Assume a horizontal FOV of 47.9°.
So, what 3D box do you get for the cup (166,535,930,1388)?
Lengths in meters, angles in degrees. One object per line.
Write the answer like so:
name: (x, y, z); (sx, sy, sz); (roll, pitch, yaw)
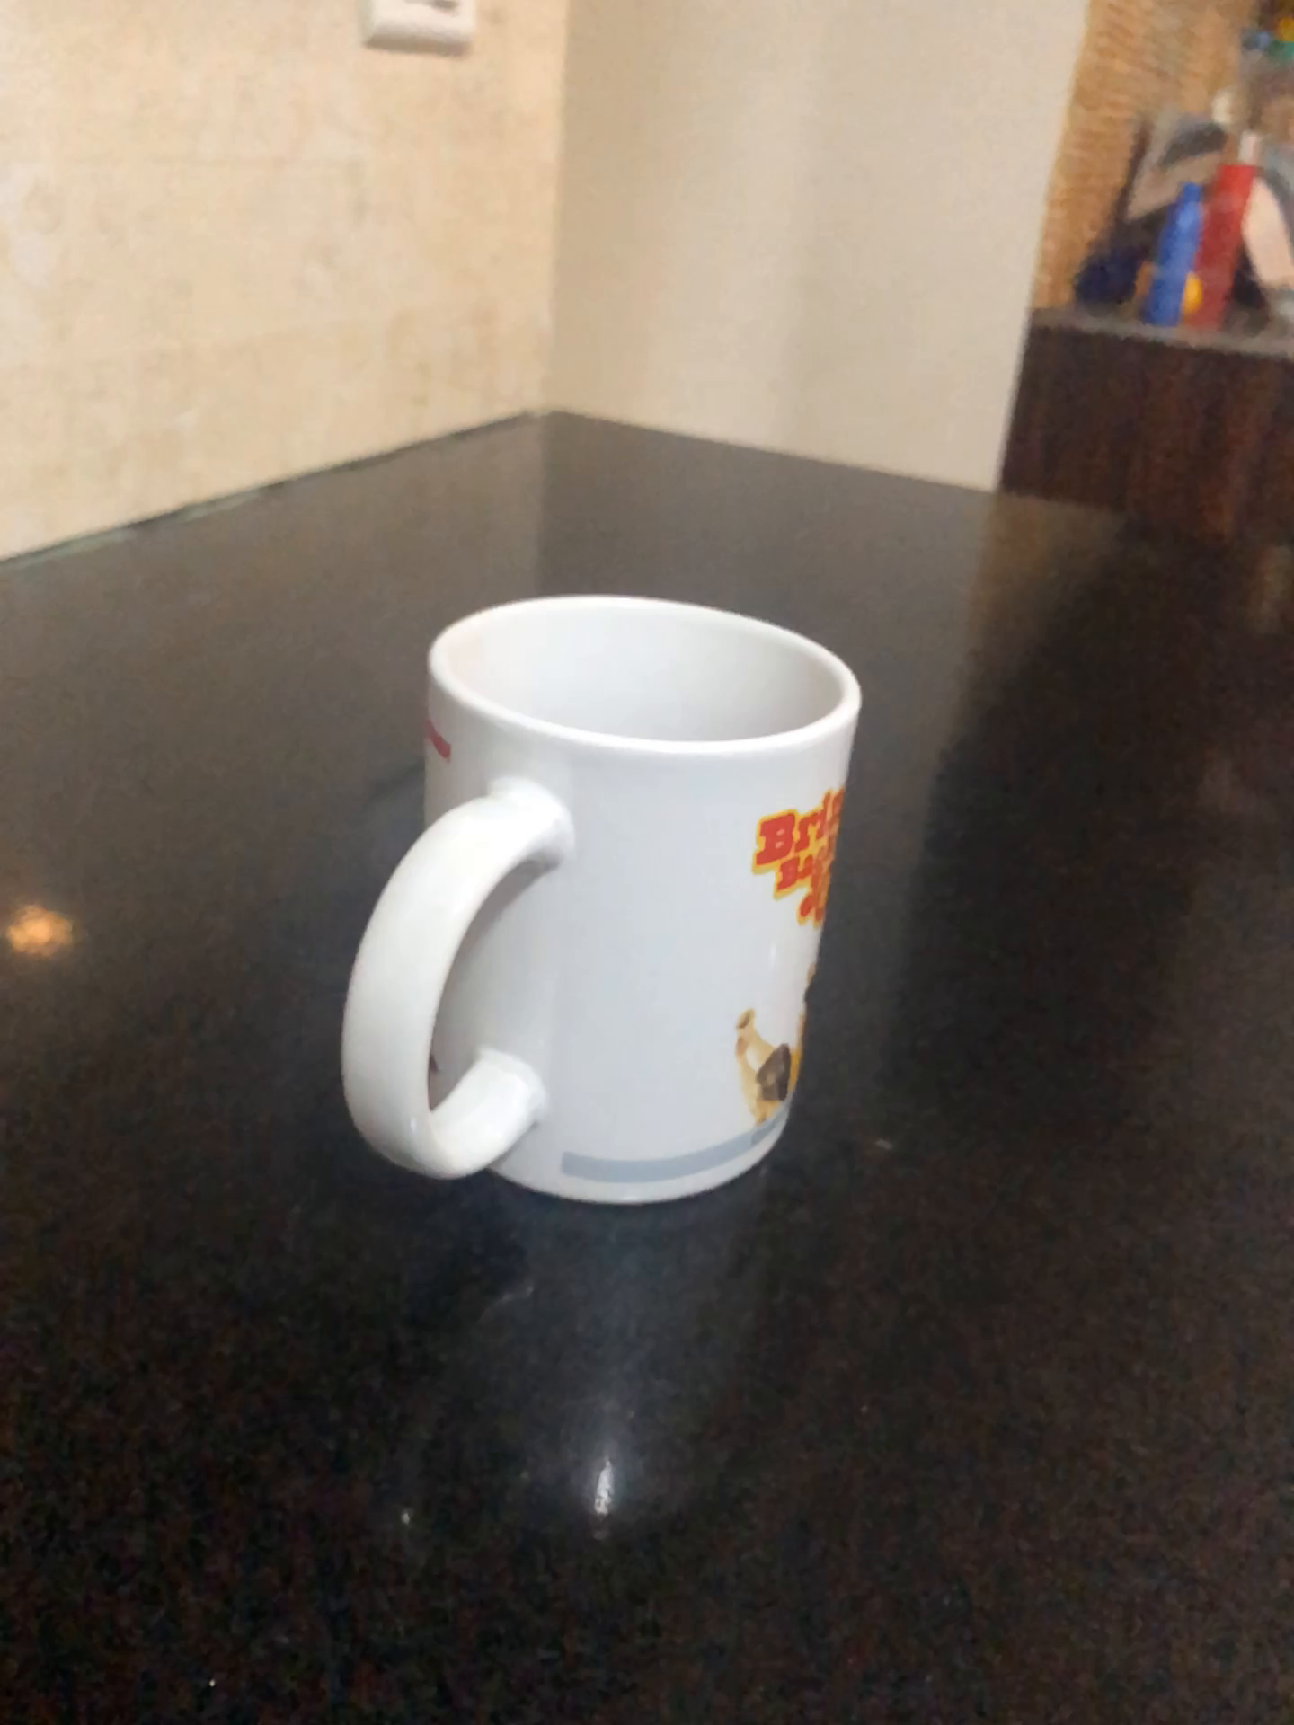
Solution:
cup: (-0.013, 0.007, 0.276); (0.080, 0.099, 0.121); (19, 30, 24)
